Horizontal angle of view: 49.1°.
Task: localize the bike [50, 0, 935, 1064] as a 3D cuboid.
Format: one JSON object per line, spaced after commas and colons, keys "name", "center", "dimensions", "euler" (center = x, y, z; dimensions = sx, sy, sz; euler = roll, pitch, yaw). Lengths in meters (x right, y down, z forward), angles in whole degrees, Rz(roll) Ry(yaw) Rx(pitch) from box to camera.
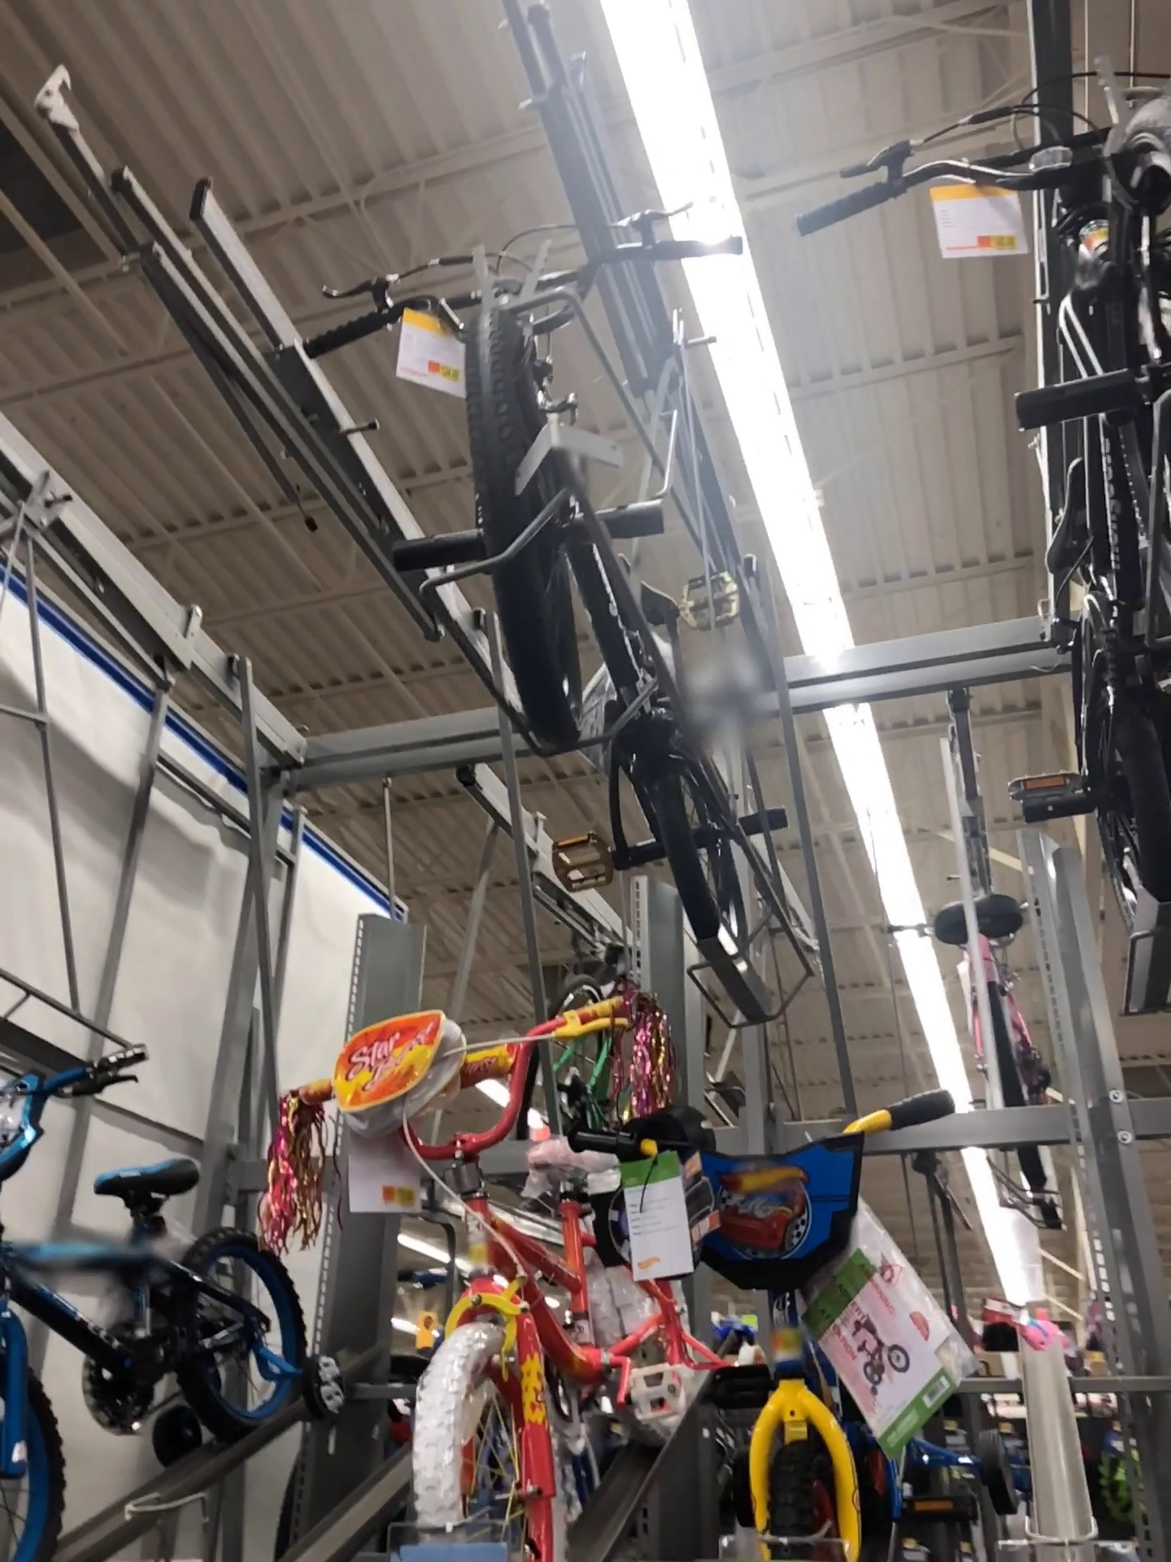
{"name": "bike", "center": [0.034, -0.236, 1.954], "dimensions": [0.754, 0.909, 1.345], "euler": [-8, -30, 16]}
